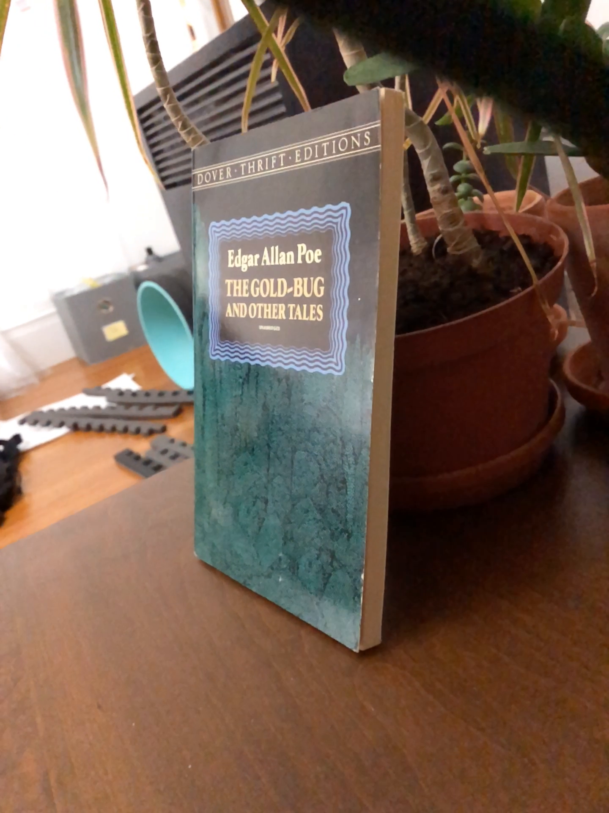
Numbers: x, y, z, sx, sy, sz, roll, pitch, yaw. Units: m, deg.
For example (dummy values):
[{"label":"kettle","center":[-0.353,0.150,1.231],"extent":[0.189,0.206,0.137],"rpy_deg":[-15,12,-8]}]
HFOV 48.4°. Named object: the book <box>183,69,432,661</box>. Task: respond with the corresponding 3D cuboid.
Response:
[{"label":"book","center":[-0.010,-0.019,0.301],"extent":[0.020,0.210,0.140],"rpy_deg":[-3,9,-38]}]
